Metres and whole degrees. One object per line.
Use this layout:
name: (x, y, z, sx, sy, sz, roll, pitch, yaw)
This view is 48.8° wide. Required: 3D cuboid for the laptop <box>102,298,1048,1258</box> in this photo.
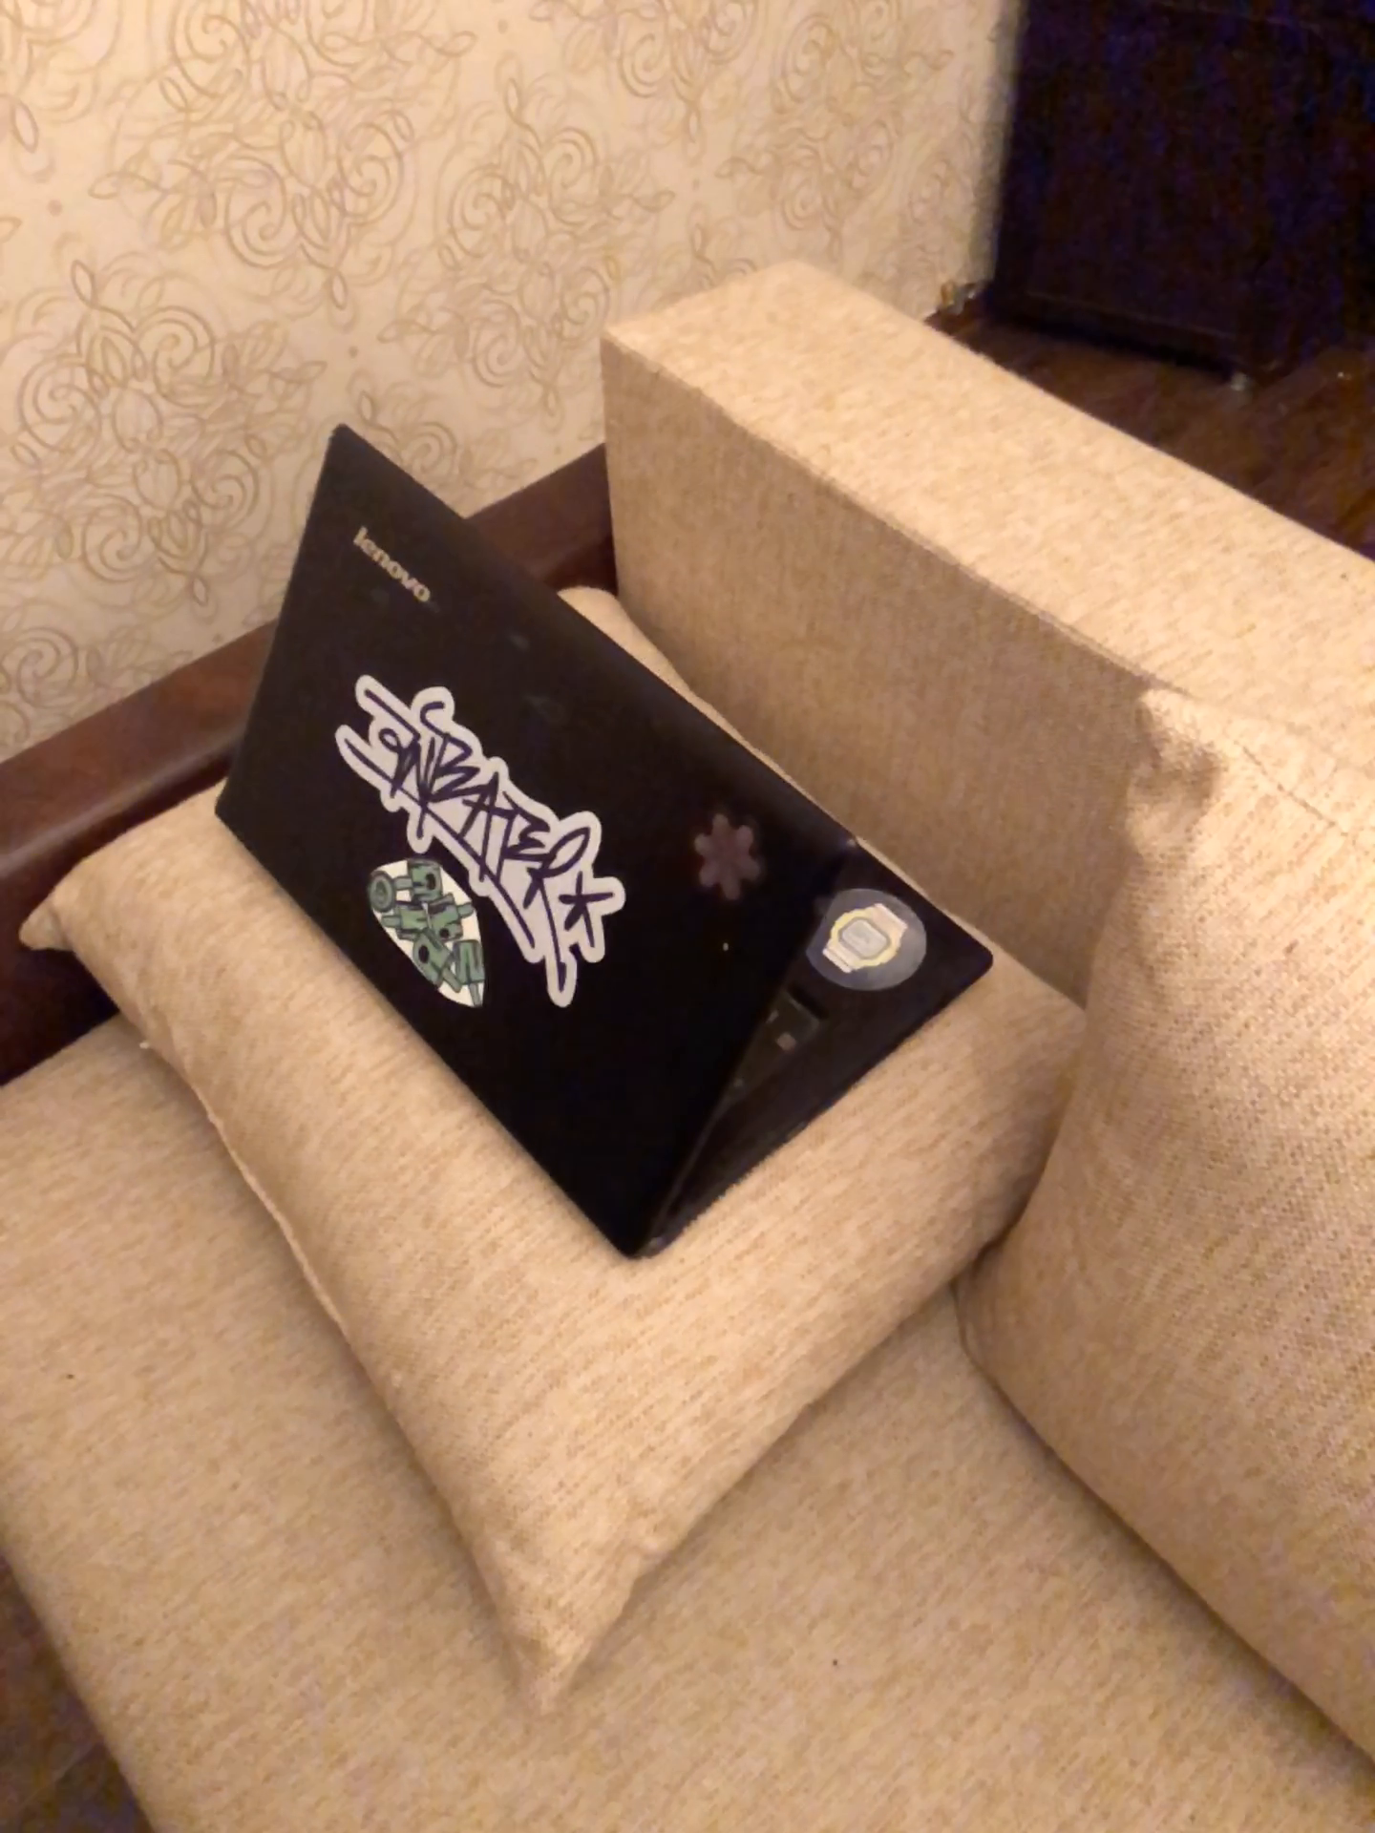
laptop: (-0.066, -0.093, 0.835, 0.267, 0.223, 0.414, -37, 60, -21)
